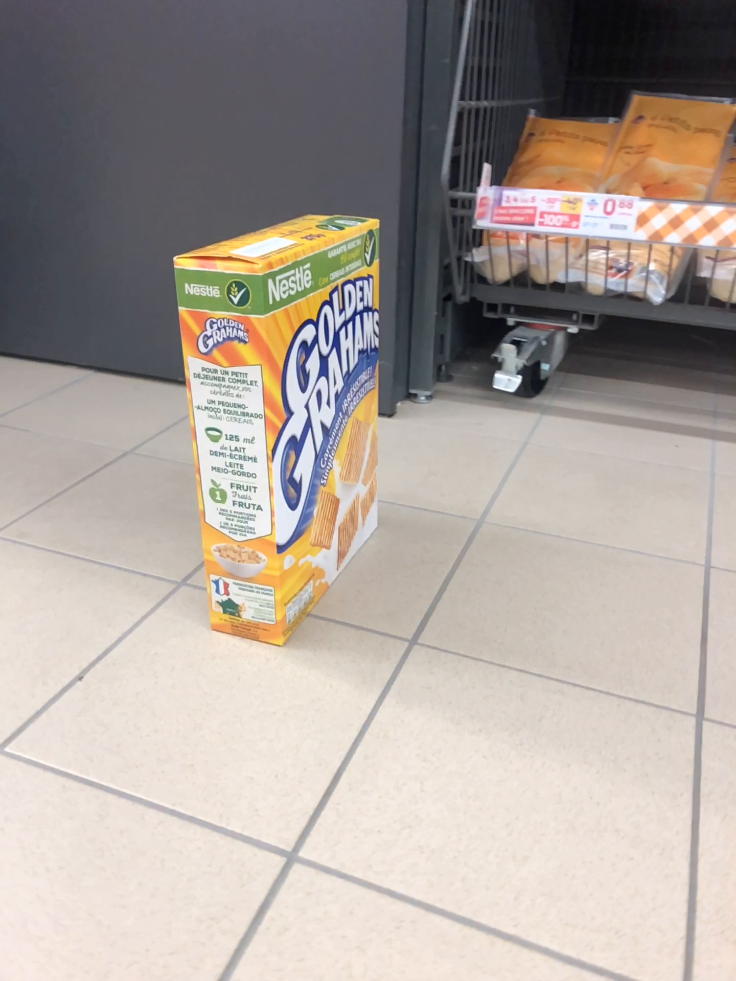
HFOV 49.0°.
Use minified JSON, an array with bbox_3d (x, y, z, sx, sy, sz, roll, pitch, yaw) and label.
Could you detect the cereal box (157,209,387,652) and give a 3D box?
[{"bbox_3d":[-0.057,-0.054,0.605,0.070,0.268,0.201,11,28,18],"label":"cereal box"}]
